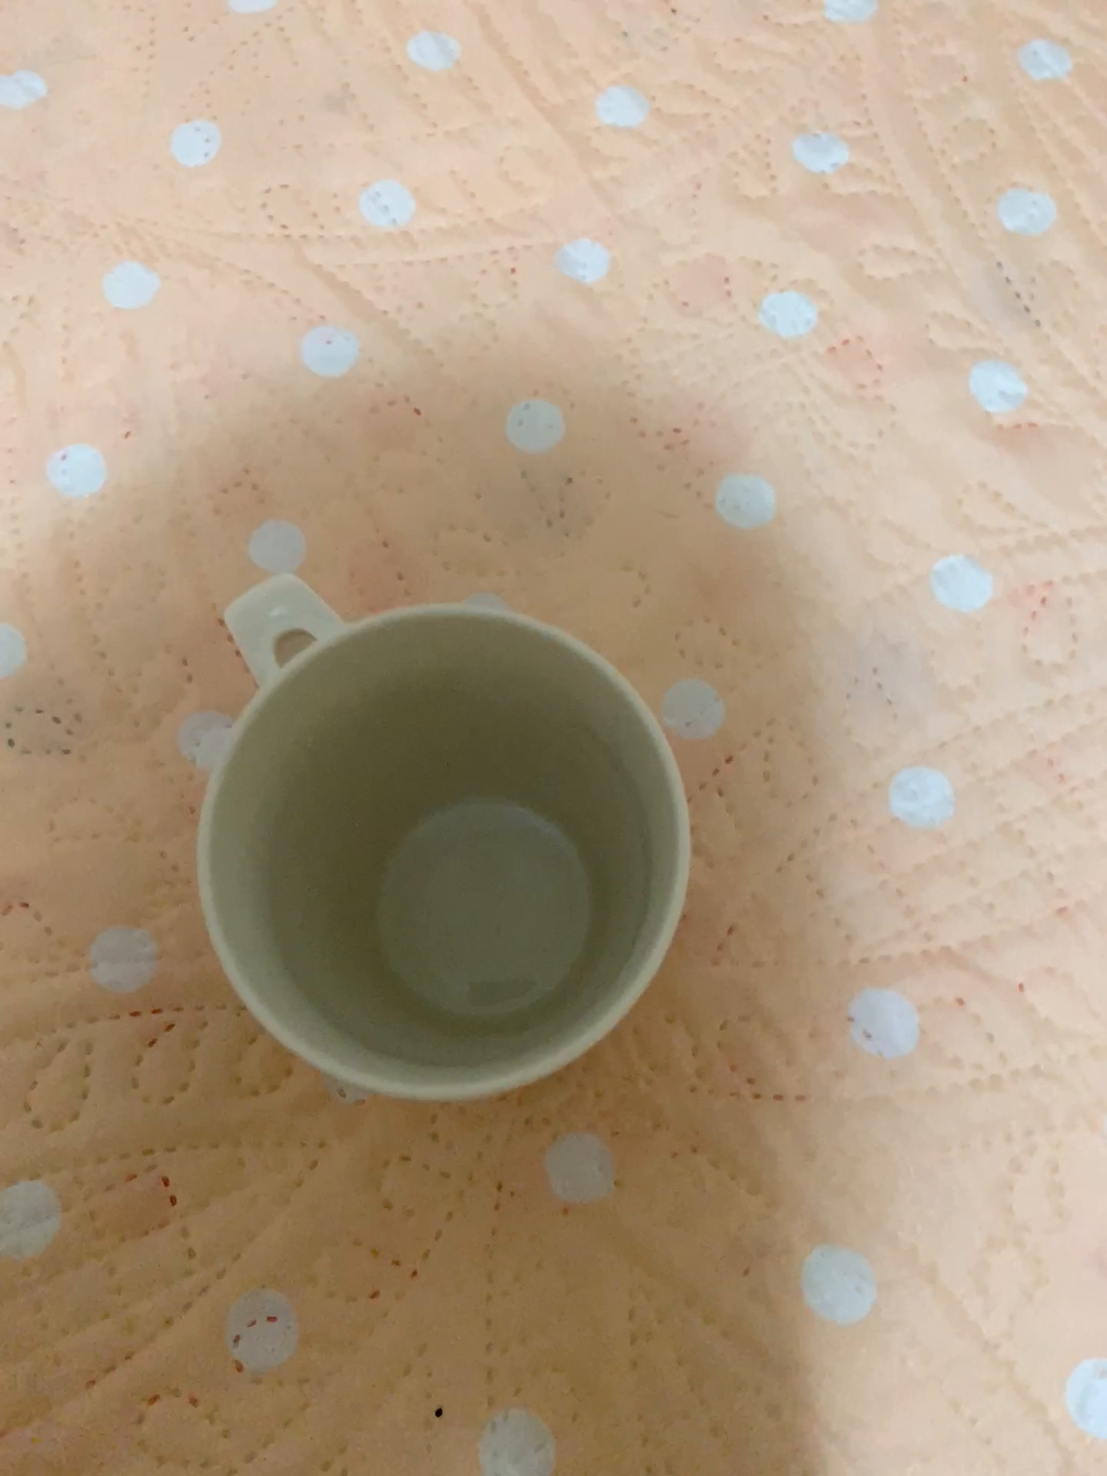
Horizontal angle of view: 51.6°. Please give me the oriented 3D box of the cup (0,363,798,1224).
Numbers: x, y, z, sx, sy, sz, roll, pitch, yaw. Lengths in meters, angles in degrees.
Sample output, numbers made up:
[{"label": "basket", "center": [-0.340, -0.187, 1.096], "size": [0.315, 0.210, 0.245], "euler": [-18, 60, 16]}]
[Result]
[{"label": "cup", "center": [-0.032, 0.016, 0.242], "size": [0.090, 0.100, 0.120], "euler": [-37, 77, -10]}]
